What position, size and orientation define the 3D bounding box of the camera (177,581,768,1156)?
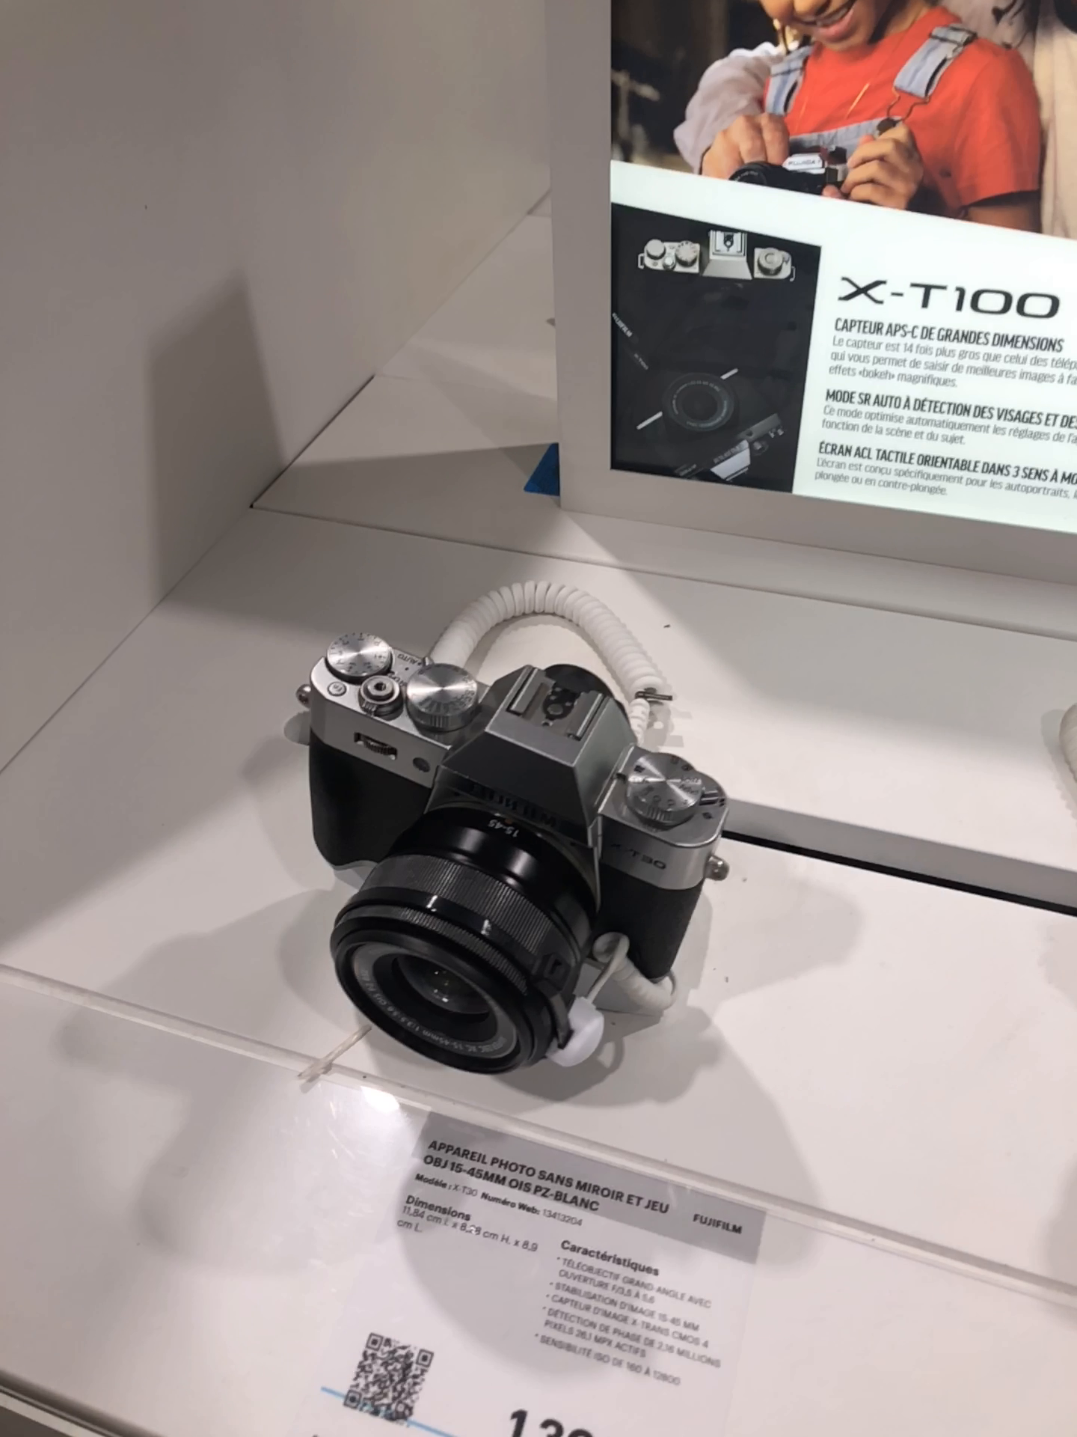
[{"bbox_3d":[-0.017,0.039,0.347,0.130,0.089,0.091,20,46,16],"label":"camera"}]
